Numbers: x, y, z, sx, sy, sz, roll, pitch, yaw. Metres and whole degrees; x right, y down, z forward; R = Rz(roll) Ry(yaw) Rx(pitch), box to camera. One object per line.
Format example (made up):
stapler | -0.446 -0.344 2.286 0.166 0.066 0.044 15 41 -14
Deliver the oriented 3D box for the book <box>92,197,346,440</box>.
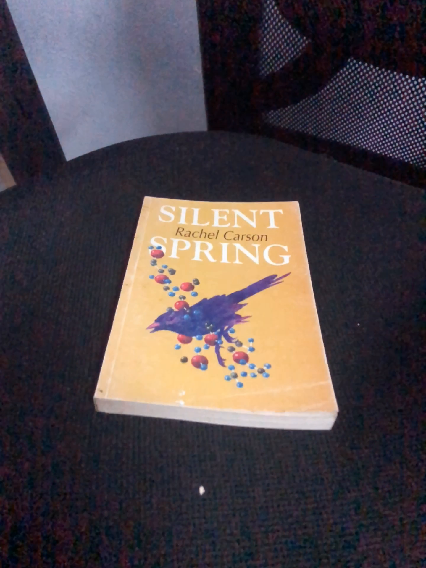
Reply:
book | 0.006 0.009 0.367 0.150 0.030 0.221 2 44 0
